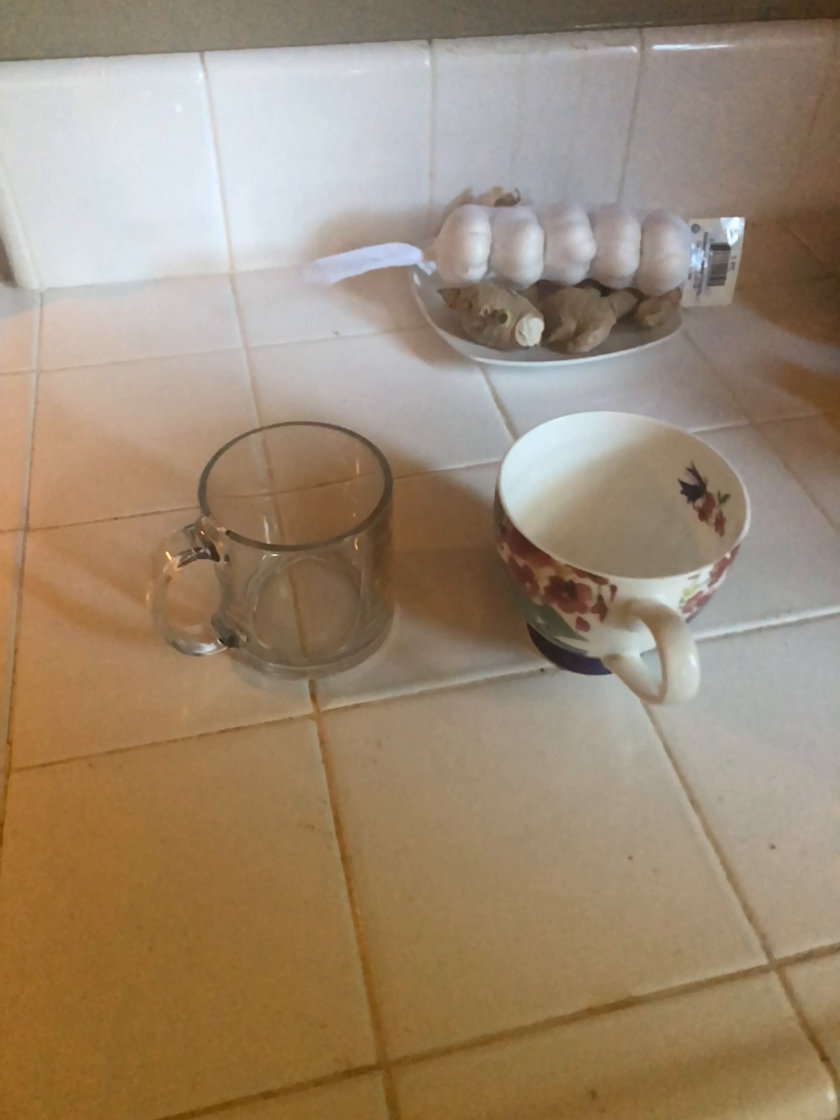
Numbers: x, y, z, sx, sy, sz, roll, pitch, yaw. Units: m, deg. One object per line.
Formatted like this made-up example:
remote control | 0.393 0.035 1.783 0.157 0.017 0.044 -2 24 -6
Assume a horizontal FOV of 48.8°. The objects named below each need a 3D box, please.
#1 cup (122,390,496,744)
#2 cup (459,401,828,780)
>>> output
cup | -0.050 -0.001 0.414 0.130 0.079 0.101 -16 49 -16
cup | 0.084 0.008 0.408 0.110 0.079 0.141 -4 47 -6
